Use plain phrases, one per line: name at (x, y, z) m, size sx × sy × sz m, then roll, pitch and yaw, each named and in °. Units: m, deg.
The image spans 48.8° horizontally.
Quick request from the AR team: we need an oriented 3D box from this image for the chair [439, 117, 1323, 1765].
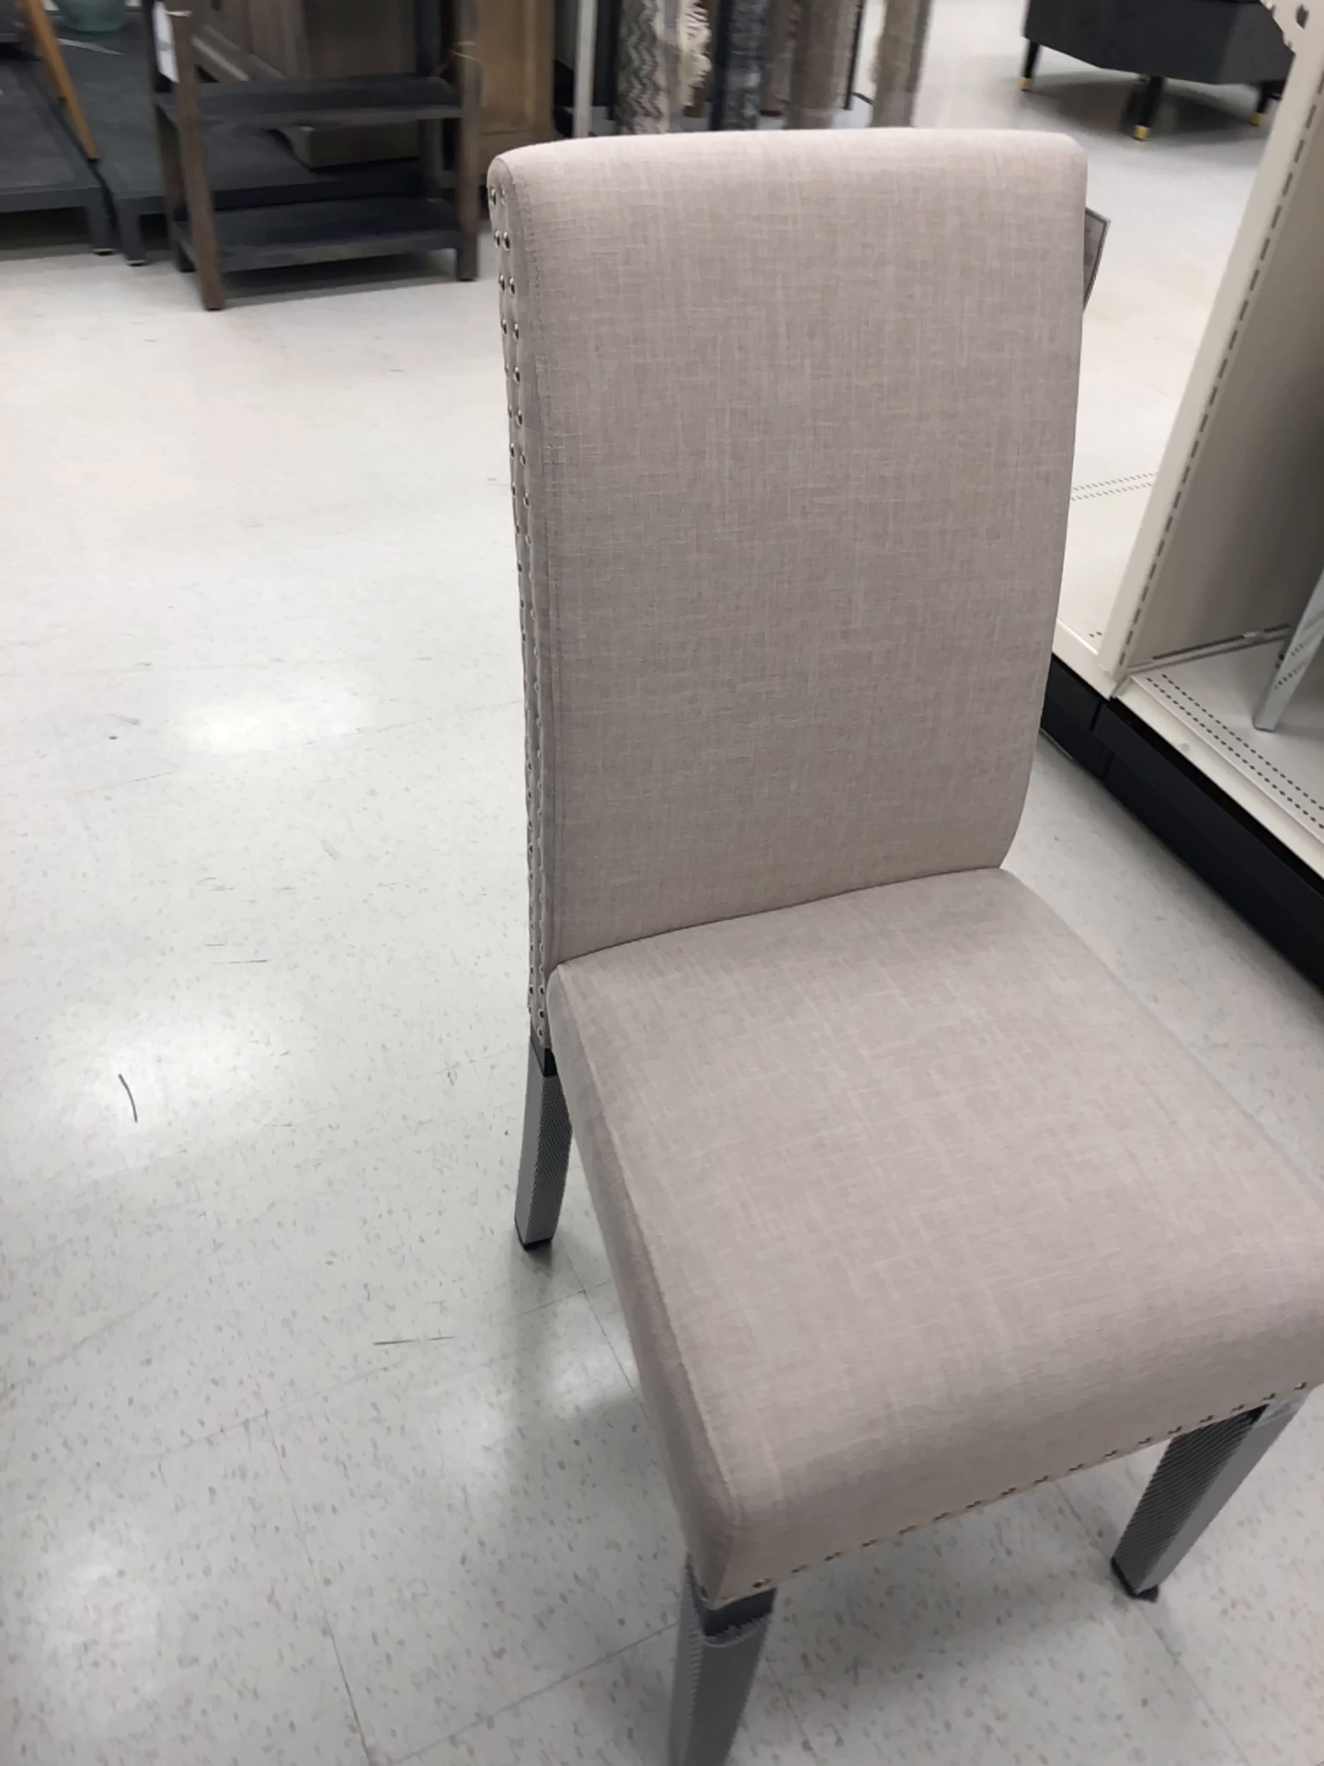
chair at (0.168, 0.108, 1.008) m, size 0.487 × 1.006 × 0.558 m, roll -11°, pitch 45°, yaw -18°
